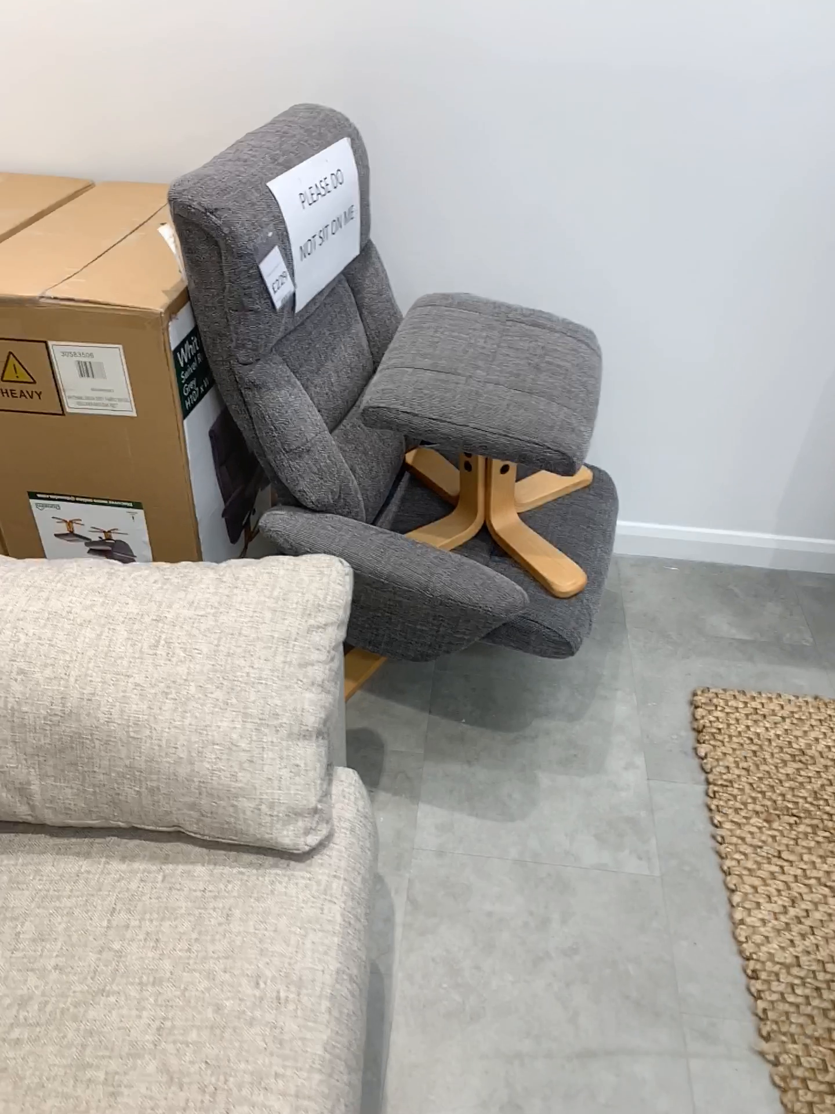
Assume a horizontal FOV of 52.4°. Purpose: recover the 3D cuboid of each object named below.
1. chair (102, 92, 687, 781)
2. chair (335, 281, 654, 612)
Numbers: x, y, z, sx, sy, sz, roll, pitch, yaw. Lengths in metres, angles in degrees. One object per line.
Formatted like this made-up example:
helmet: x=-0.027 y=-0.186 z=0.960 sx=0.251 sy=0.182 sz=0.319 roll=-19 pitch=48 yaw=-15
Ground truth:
chair: x=0.006 y=-0.240 z=1.589 sx=0.720 sy=0.975 sz=0.708 roll=8 pitch=37 yaw=8
chair: x=0.153 y=-0.226 z=1.559 sx=0.479 sy=0.351 sz=0.486 roll=9 pitch=37 yaw=9
